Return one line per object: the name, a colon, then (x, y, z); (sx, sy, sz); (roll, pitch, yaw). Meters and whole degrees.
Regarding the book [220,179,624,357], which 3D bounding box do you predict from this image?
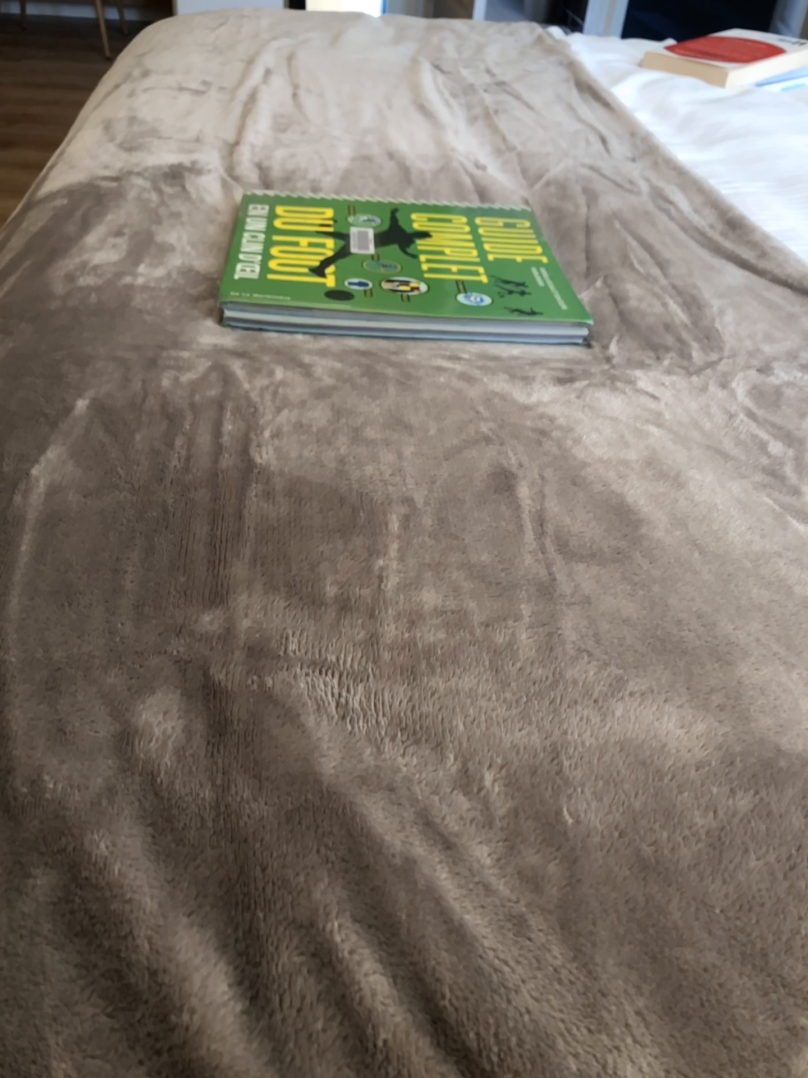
book: (0.005, -0.194, 0.616); (0.238, 0.018, 0.229); (1, 40, -6)
